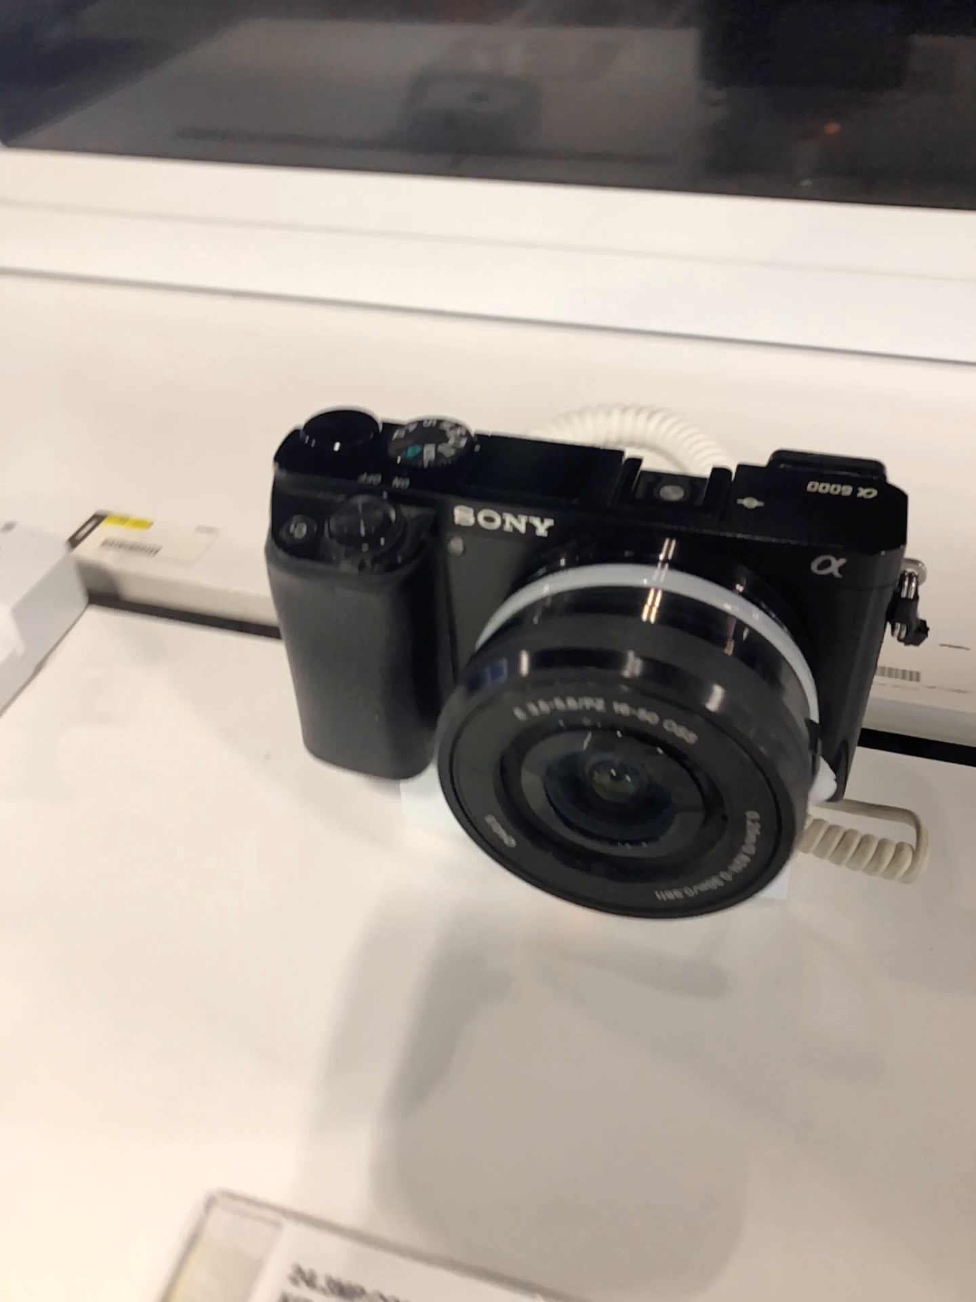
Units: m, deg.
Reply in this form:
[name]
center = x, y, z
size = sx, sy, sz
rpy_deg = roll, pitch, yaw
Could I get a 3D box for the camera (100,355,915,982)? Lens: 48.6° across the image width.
[camera]
center = 0.009, -0.002, 0.201
size = 0.120, 0.070, 0.070
rpy_deg = 9, 42, 14
